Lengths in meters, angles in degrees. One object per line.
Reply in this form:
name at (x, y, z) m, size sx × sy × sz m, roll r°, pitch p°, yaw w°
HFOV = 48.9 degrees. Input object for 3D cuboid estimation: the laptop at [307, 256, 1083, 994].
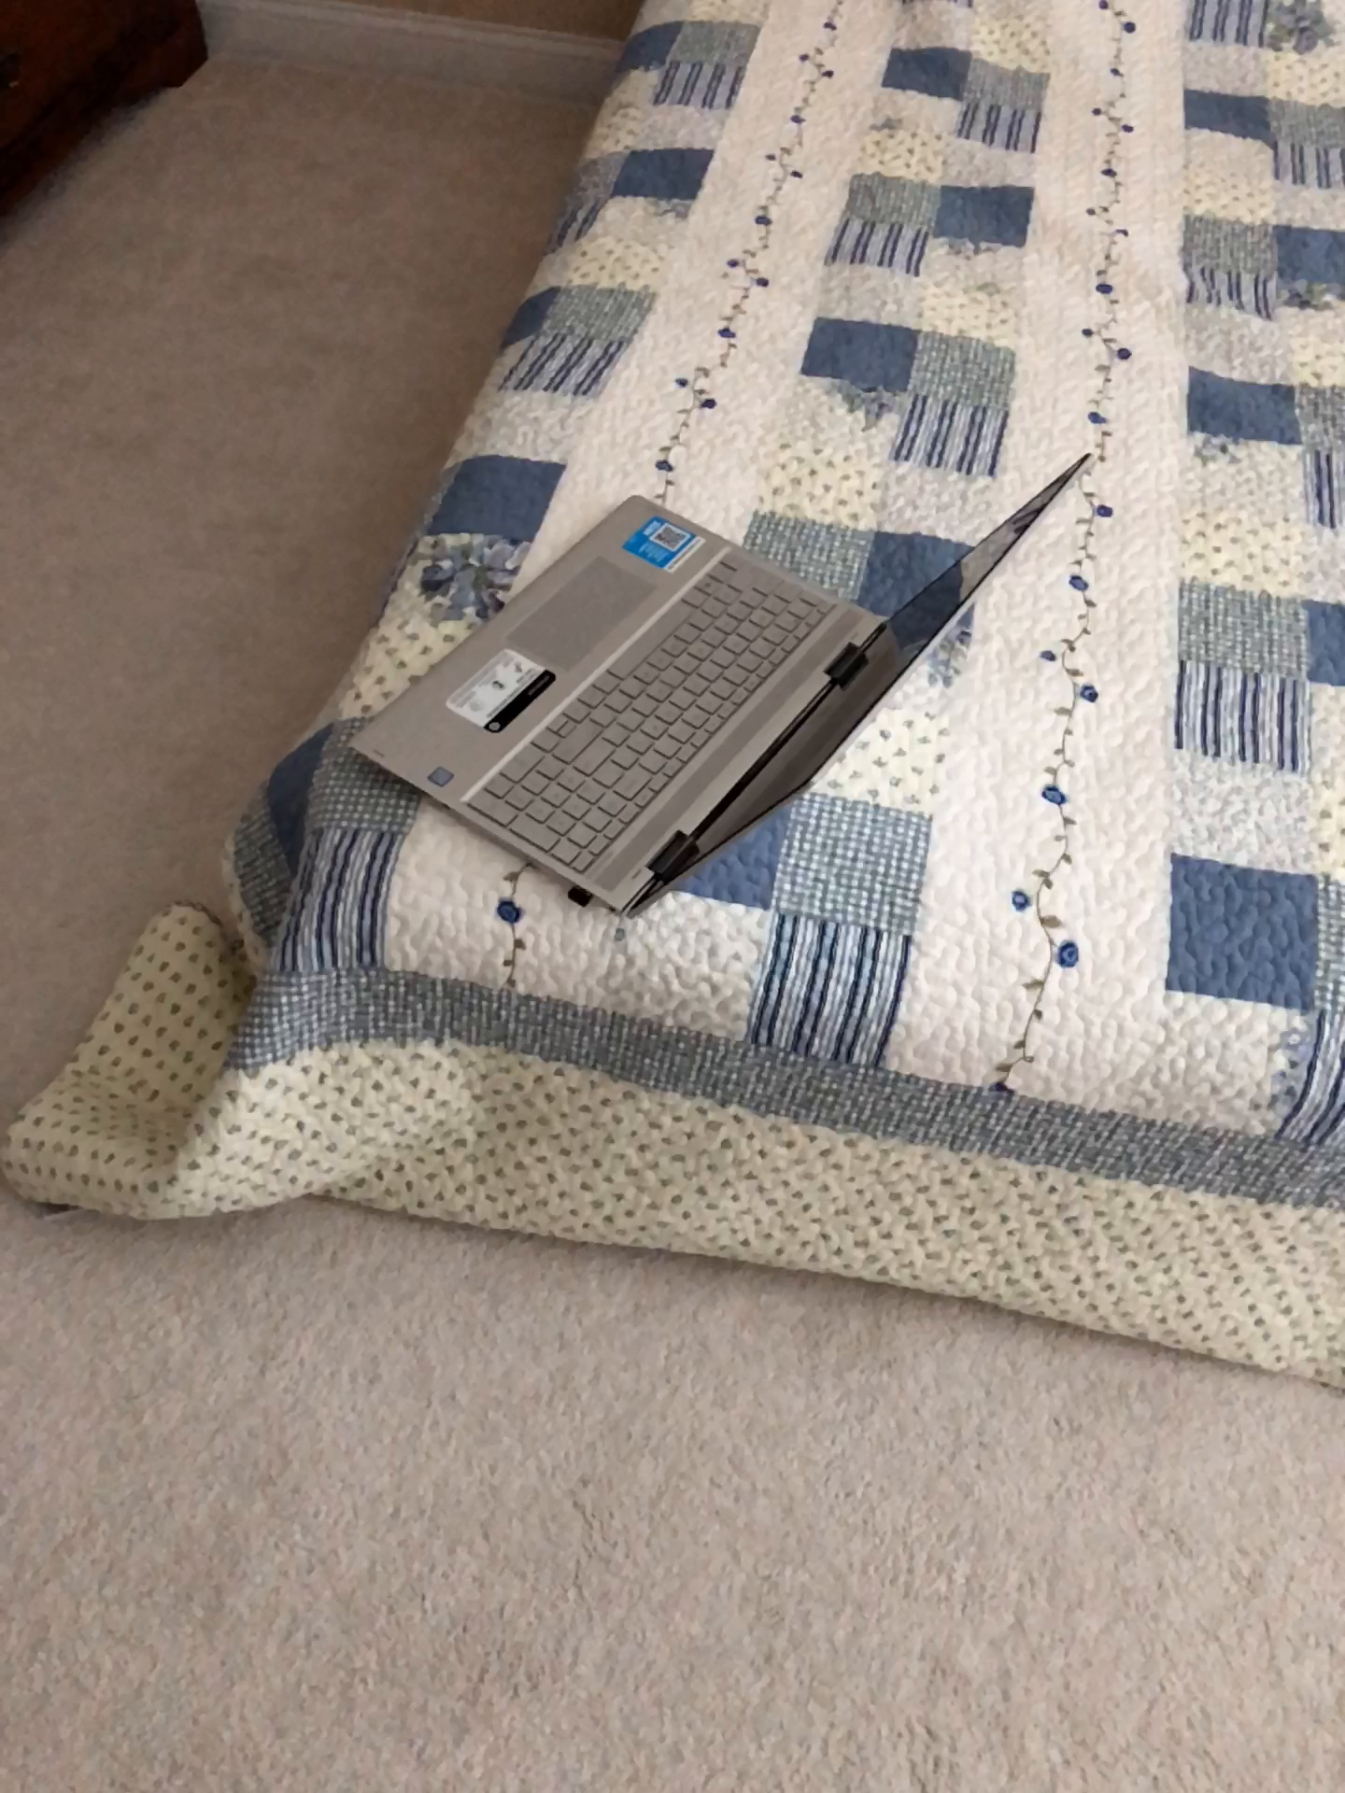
laptop at (0.020, -0.204, 1.020) m, size 0.358 × 0.208 × 0.356 m, roll 30°, pitch 56°, yaw 18°
